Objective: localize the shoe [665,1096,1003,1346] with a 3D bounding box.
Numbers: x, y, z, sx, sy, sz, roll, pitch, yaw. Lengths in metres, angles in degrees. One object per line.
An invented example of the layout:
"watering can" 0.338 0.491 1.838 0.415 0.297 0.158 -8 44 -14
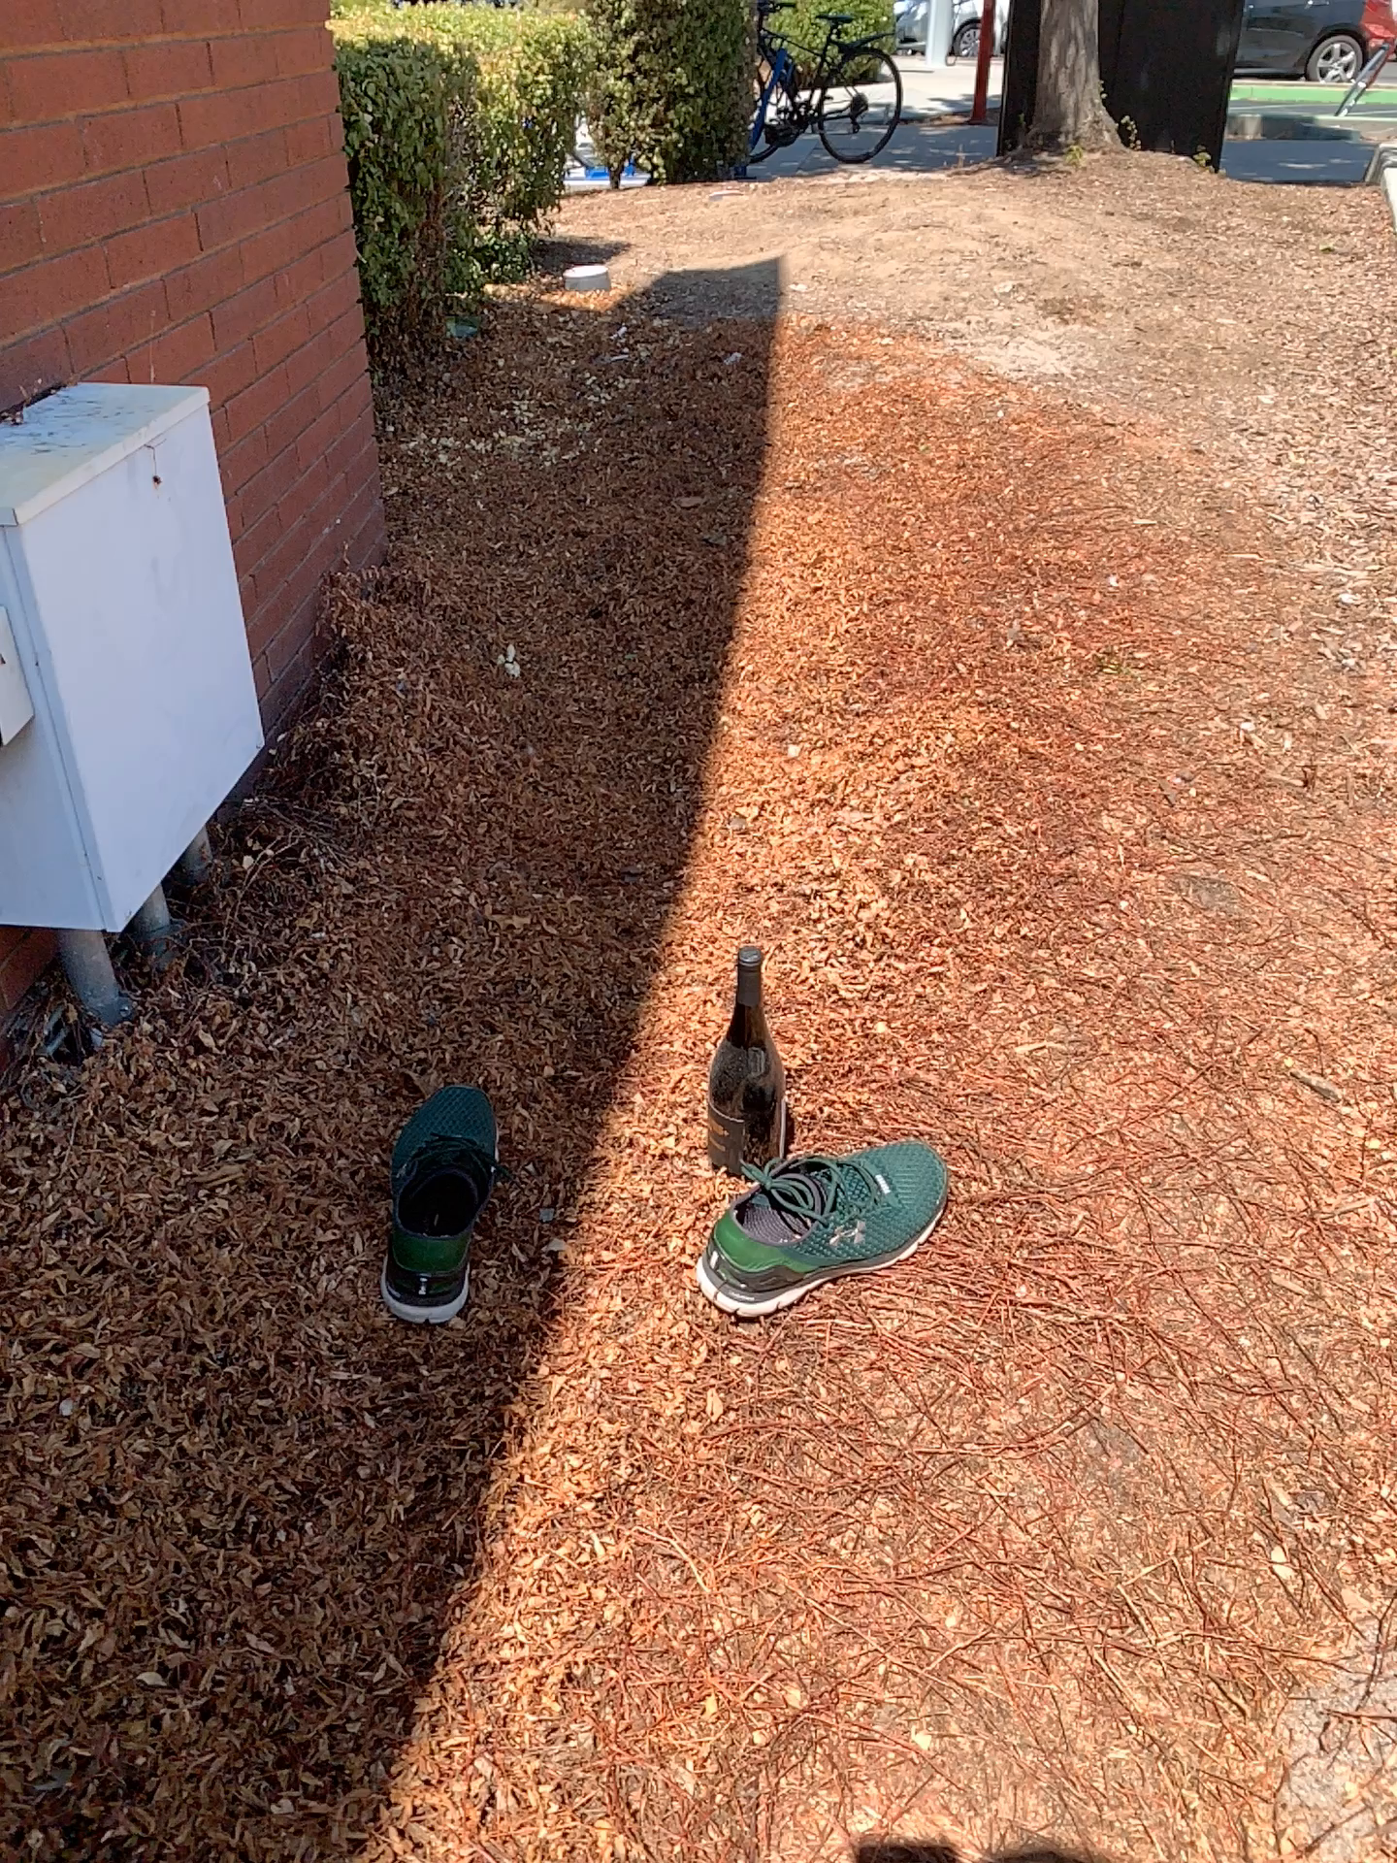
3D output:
"shoe" 0.138 0.286 1.449 0.320 0.079 0.131 -17 37 -25

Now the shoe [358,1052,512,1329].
"shoe" -0.266 0.258 1.489 0.120 0.070 0.332 -1 34 -3
